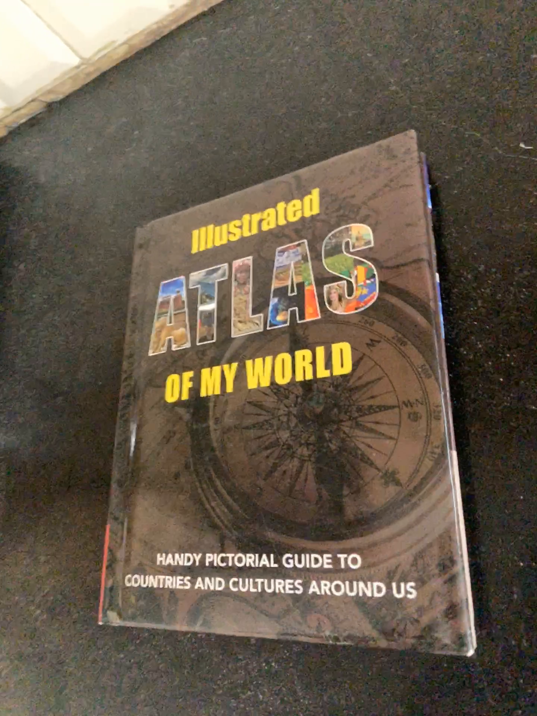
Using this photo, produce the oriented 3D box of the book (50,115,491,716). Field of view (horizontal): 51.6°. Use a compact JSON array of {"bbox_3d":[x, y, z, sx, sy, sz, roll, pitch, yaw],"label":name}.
[{"bbox_3d":[-0.011,0.028,0.292,0.201,0.040,0.271,-11,67,27],"label":"book"}]
